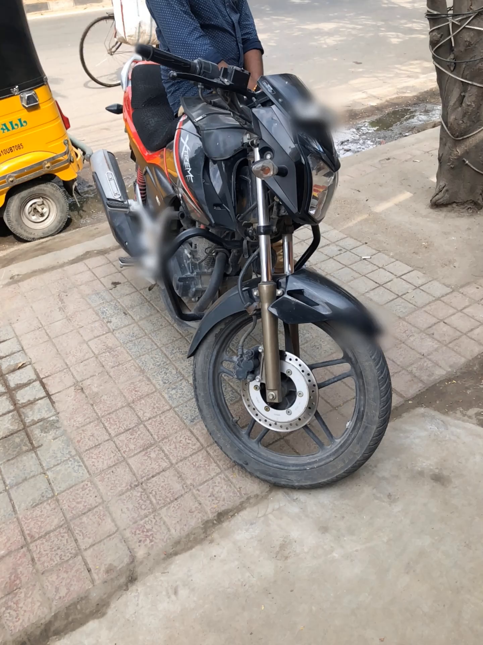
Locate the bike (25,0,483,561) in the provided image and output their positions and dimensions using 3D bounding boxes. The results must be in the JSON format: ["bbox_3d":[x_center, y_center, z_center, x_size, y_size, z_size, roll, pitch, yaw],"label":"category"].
[{"bbox_3d":[-0.054,-0.382,1.821,0.690,1.221,1.716,-20,41,-20],"label":"bike"}]
